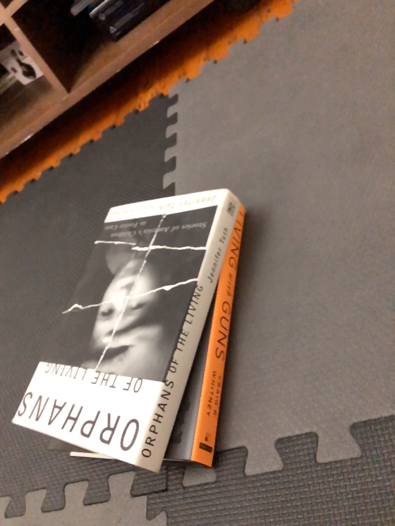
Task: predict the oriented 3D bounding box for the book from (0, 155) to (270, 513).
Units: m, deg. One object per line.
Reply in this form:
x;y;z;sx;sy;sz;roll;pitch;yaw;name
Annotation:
-0.052;0.038;0.390;0.181;0.030;0.280;-4;56;39;book

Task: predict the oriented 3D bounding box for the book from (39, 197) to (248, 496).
-0.041;0.065;0.404;0.161;0.030;0.251;-15;50;33;book
